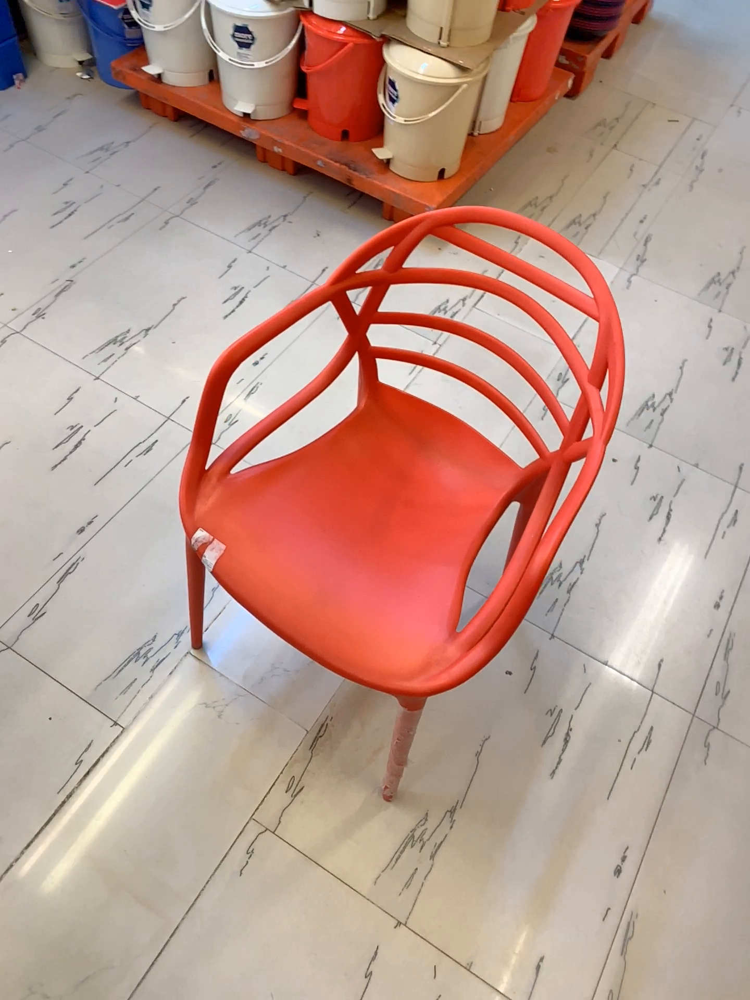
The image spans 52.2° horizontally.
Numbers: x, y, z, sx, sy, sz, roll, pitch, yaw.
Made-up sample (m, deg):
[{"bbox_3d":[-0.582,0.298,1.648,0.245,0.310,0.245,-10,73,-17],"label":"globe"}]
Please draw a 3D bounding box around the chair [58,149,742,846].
[{"bbox_3d":[0.038,0.008,1.167,0.551,0.656,0.633,33,58,16],"label":"chair"}]
